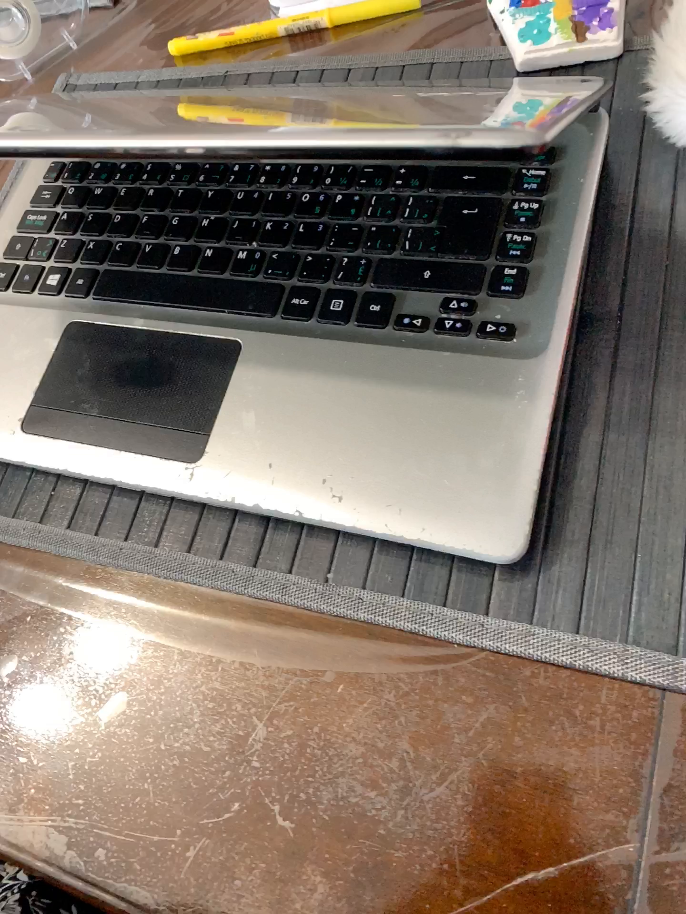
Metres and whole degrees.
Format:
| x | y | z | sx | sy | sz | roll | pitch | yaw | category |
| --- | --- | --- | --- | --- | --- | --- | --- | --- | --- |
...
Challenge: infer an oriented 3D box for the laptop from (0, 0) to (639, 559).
| x | y | z | sx | sy | sz | roll | pitch | yaw | category |
| --- | --- | --- | --- | --- | --- | --- | --- | --- | --- |
| -0.080 | -0.118 | 0.303 | 0.344 | 0.141 | 0.225 | 9 | 70 | 20 | laptop |
